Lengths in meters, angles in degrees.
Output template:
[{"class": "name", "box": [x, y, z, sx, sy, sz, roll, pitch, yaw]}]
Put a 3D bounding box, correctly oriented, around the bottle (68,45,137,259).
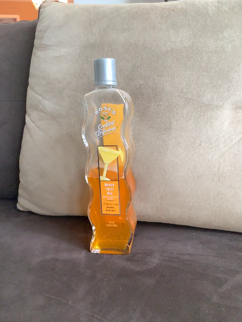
[{"class": "bottle", "box": [-0.021, -0.008, 0.389, 0.080, 0.299, 0.080, -1, 11, 0]}]
